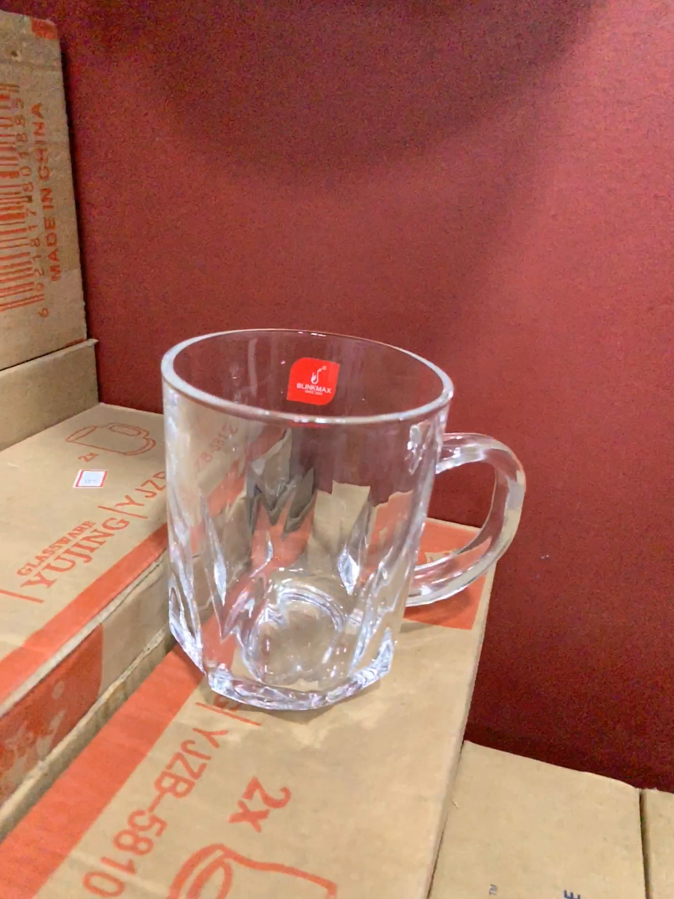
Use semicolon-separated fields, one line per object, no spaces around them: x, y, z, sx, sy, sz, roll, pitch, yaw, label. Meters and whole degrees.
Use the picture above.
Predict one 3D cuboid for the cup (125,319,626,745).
0.002;0.011;0.179;0.100;0.072;0.069;-5;24;-20;cup
